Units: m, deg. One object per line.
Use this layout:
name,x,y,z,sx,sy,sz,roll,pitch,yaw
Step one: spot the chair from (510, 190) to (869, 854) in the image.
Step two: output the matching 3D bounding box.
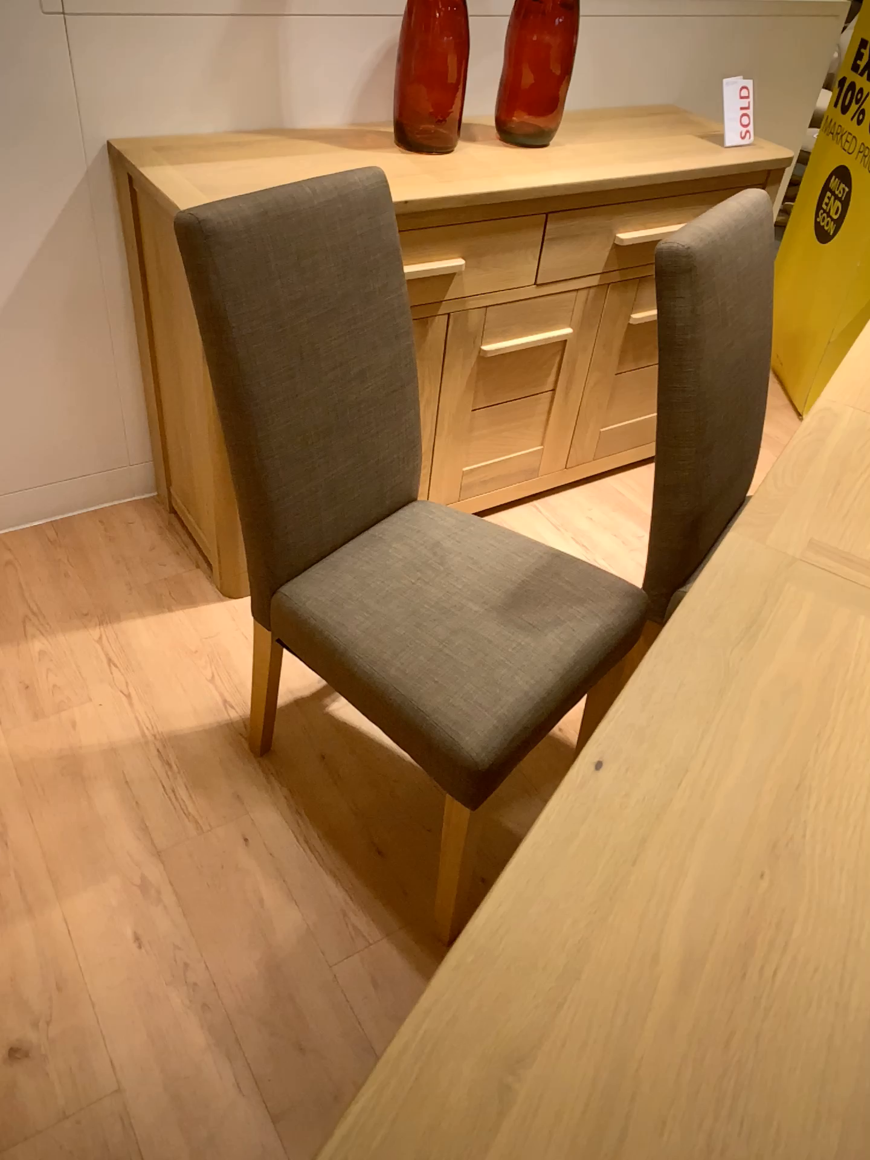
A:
chair,0.516,-0.099,1.384,0.505,0.765,0.500,27,44,23

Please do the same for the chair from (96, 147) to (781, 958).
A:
chair,-0.027,-0.046,1.291,0.606,0.883,0.510,31,45,26
